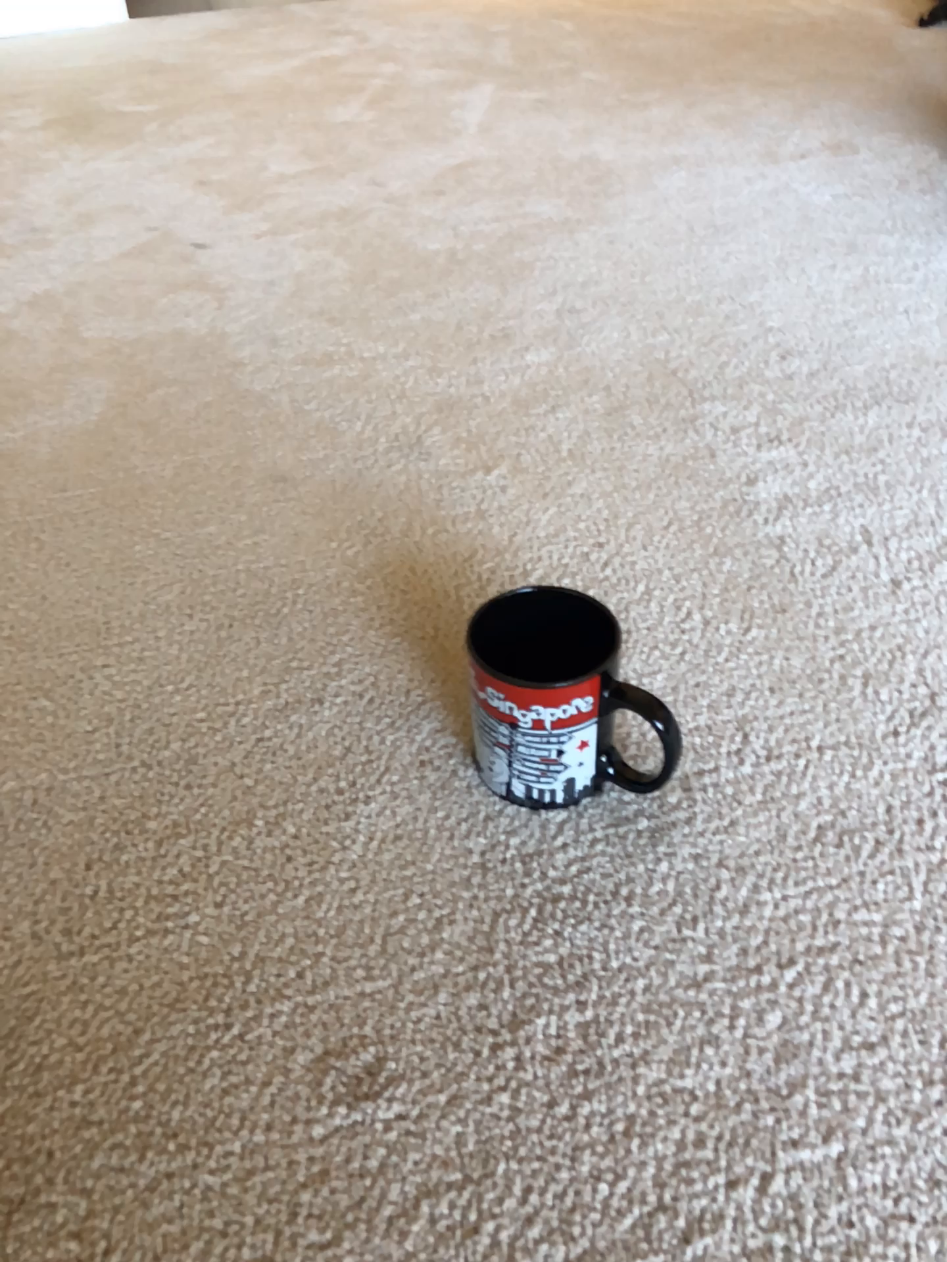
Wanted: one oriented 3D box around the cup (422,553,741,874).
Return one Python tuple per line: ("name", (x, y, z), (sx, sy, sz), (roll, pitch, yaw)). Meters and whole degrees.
("cup", (0.055, 0.038, 0.547), (0.130, 0.090, 0.090), (25, 47, 31))
